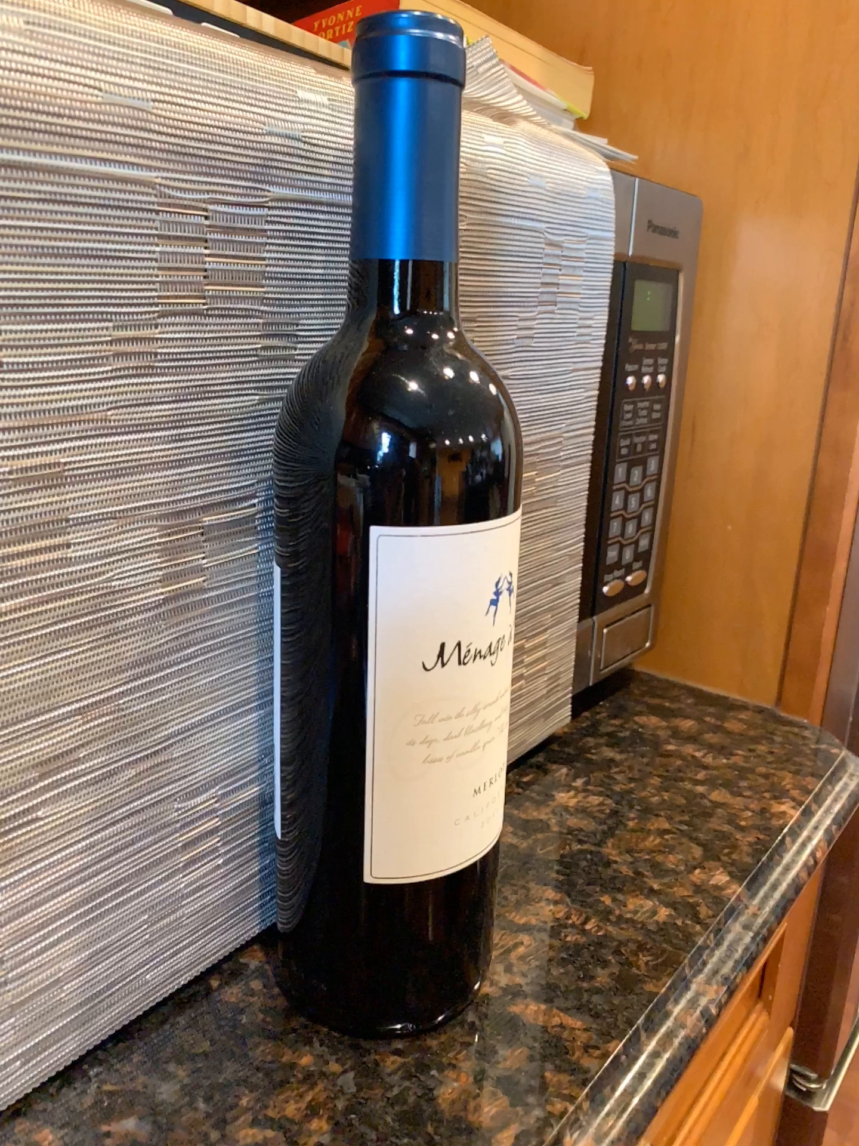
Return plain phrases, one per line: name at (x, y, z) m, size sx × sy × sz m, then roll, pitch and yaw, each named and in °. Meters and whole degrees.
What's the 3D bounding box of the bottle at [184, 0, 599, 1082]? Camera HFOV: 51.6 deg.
bottle at (-0.015, -0.011, 0.282) m, size 0.080 × 0.309 × 0.080 m, roll 2°, pitch 15°, yaw -1°
